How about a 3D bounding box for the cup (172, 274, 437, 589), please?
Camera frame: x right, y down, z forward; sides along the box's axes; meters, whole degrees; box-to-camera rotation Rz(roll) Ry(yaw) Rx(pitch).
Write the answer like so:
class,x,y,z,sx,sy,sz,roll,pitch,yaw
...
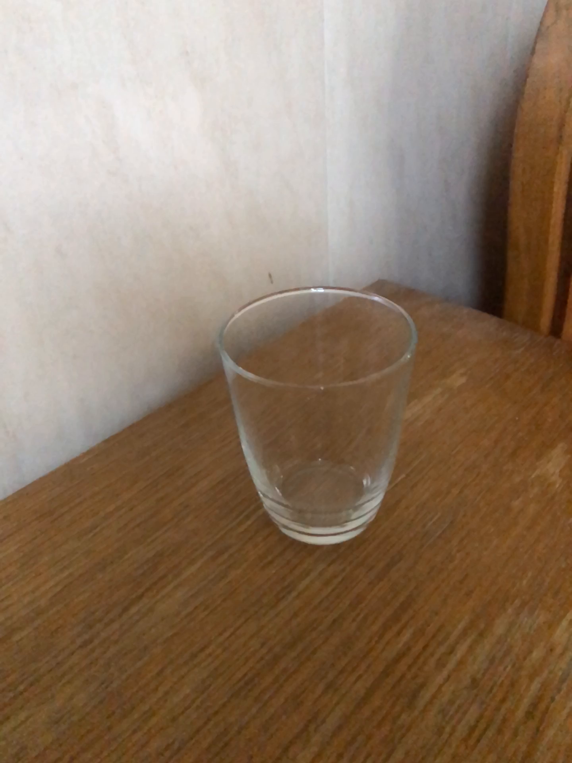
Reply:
class,x,y,z,sx,sy,sz,roll,pitch,yaw
cup,0.011,0.015,0.239,0.070,0.080,0.070,-2,33,1
